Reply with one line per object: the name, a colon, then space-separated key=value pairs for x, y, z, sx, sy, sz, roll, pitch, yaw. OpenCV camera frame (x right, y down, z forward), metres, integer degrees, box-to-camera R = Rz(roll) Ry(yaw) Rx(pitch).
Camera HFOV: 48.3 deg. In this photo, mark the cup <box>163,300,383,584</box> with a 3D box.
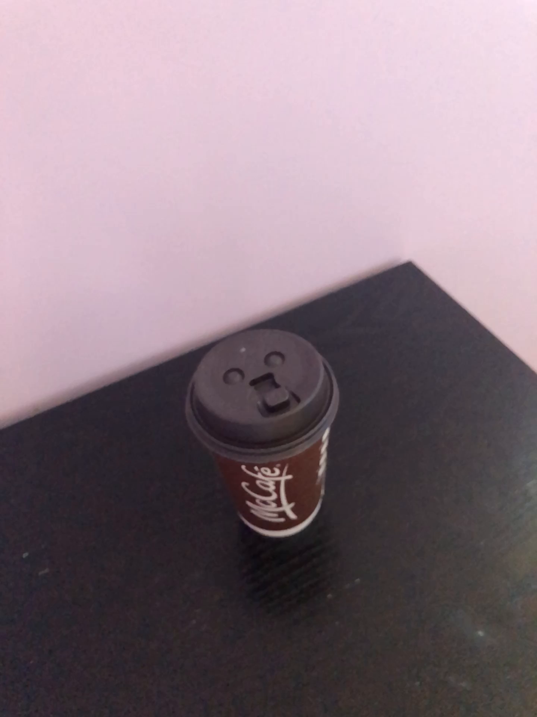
cup: x=0.007 y=0.057 z=0.393 sx=0.090 sy=0.139 sz=0.090 roll=-3 pitch=47 yaw=4
